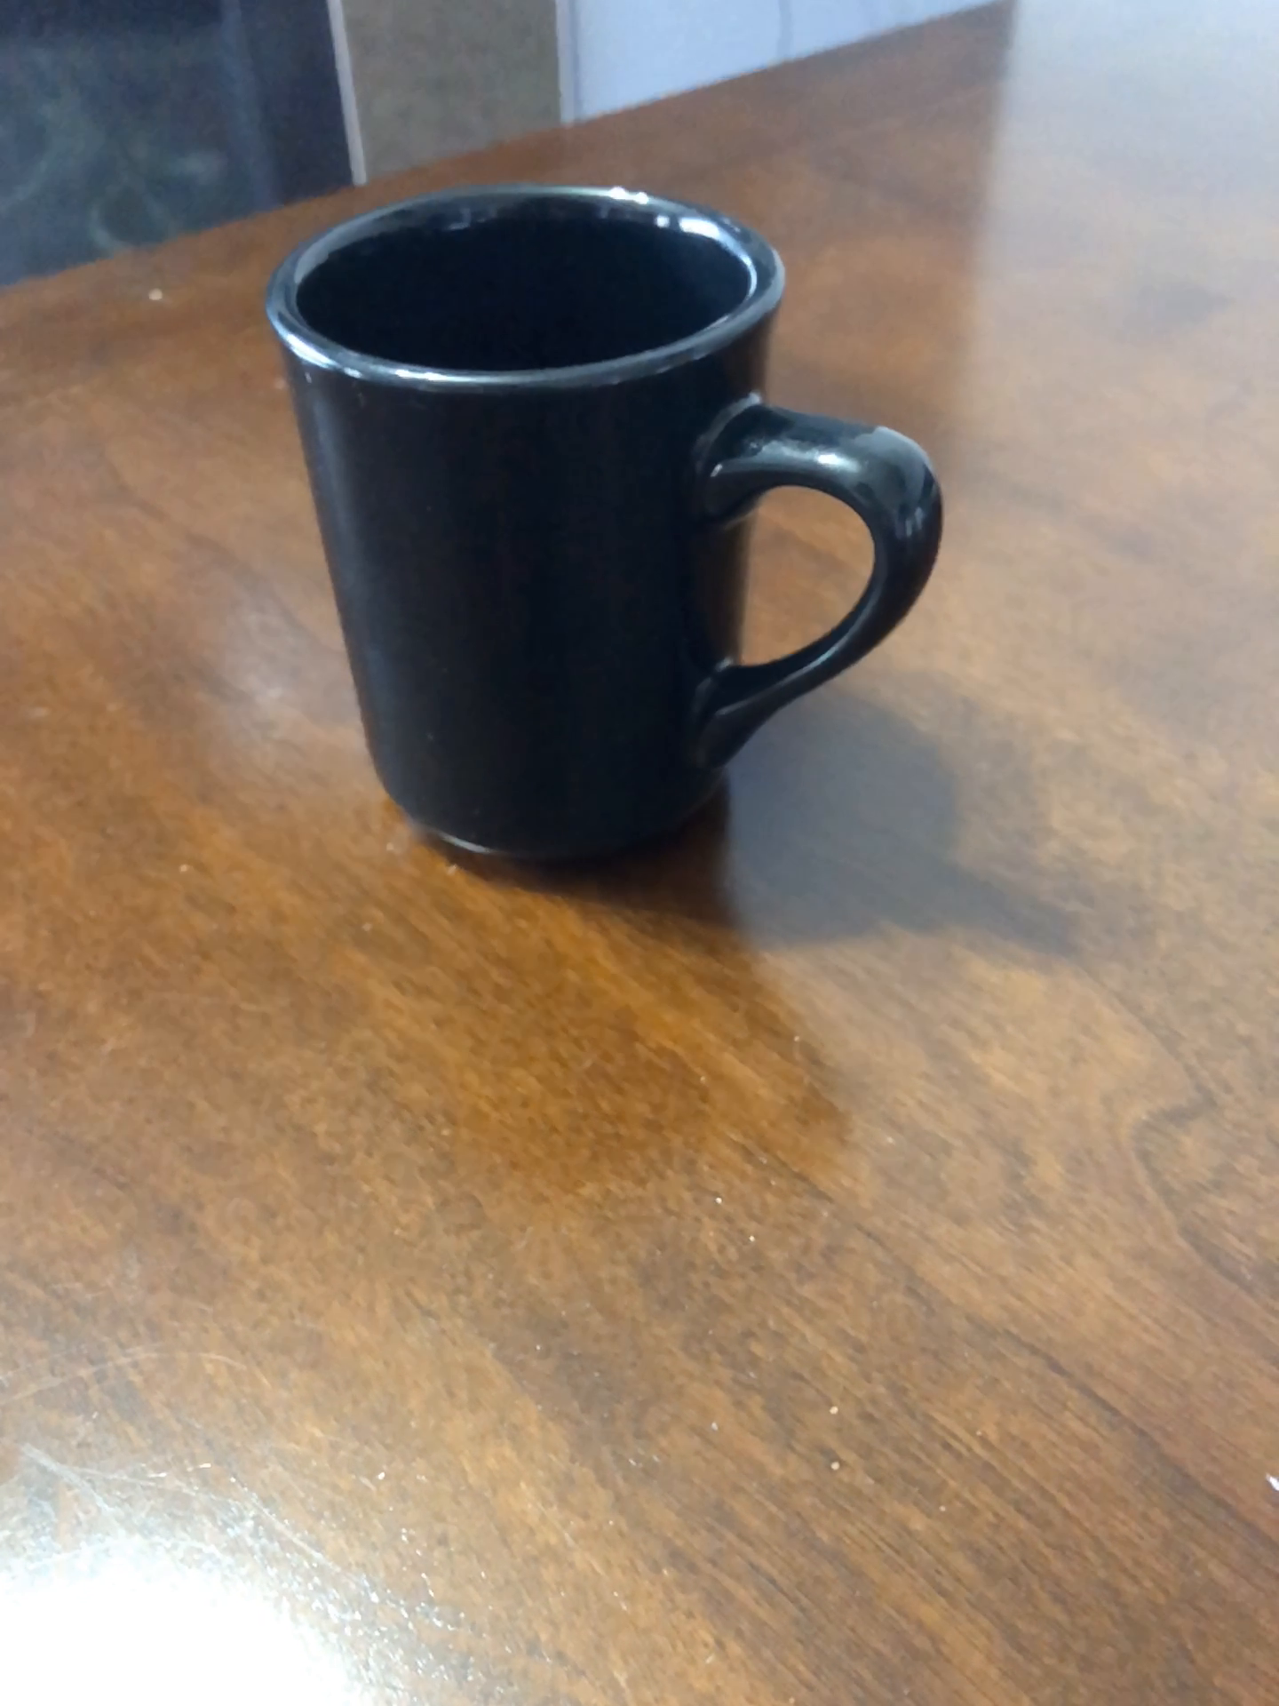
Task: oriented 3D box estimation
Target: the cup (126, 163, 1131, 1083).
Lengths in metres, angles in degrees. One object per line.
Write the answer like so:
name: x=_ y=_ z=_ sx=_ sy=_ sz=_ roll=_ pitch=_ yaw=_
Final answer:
cup: x=-0.001 y=-0.046 z=0.246 sx=0.120 sy=0.090 sz=0.090 roll=27 pitch=50 yaw=27
